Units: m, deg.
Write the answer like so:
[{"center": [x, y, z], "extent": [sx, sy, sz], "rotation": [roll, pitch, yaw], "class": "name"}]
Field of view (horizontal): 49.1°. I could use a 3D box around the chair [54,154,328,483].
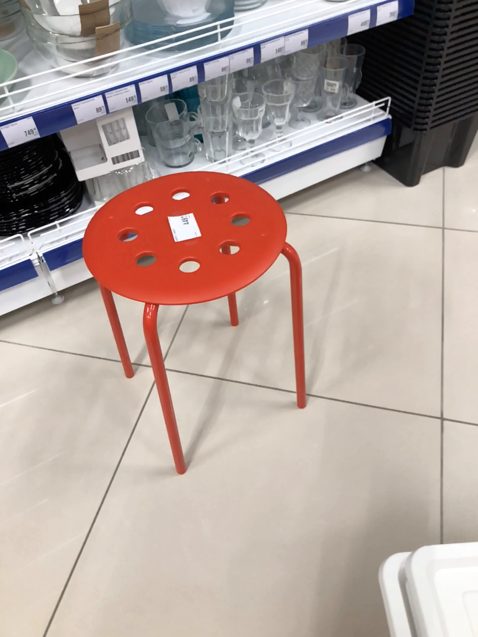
[{"center": [-0.073, 0.002, 0.949], "extent": [0.313, 0.404, 0.322], "rotation": [-25, 50, -16], "class": "chair"}]
